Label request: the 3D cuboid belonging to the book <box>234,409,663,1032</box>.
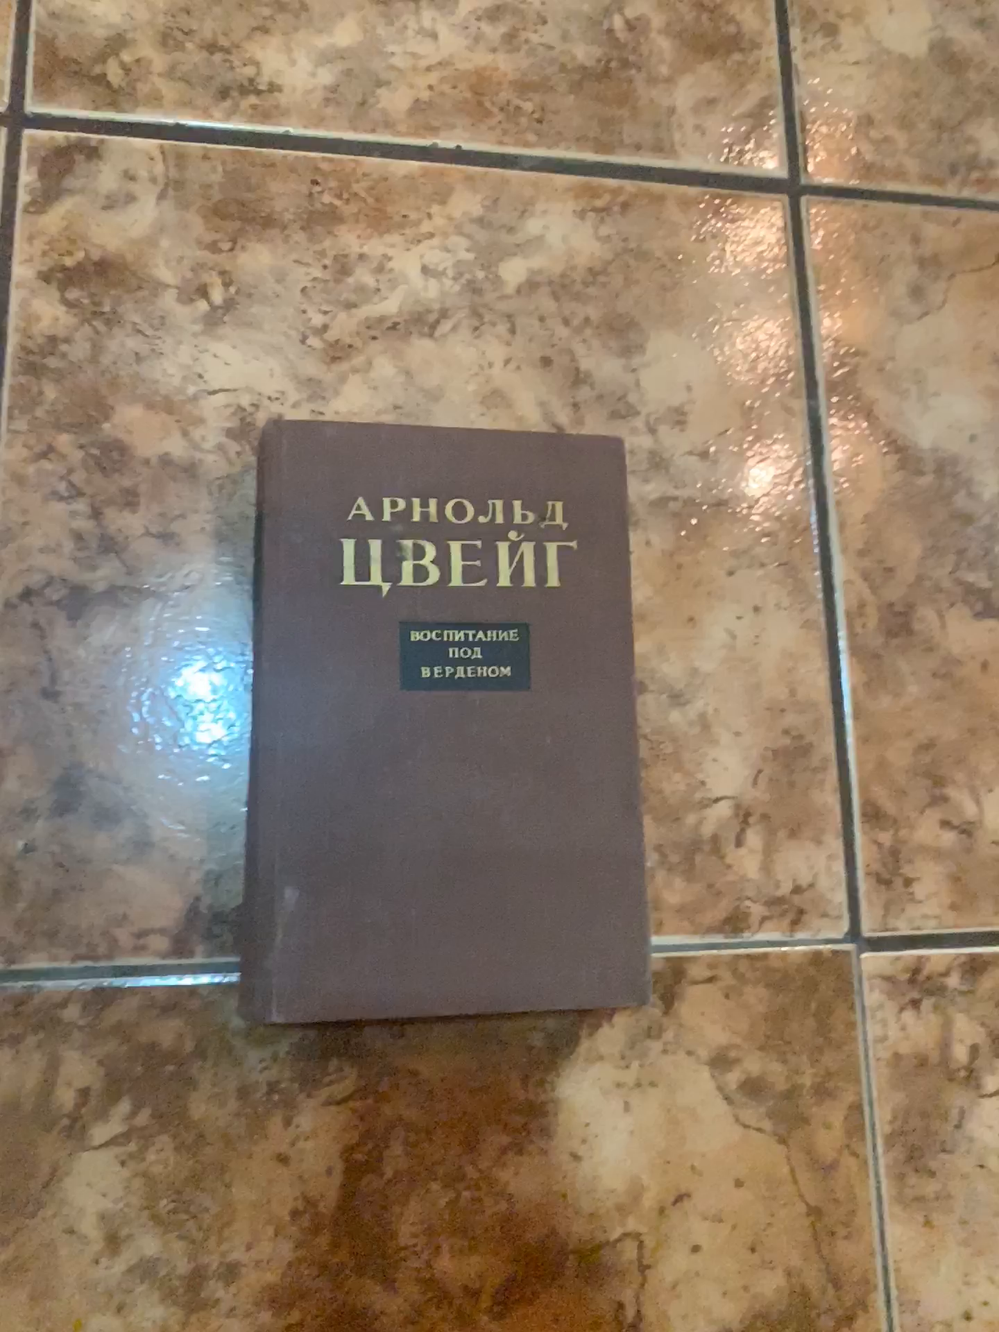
[{"bbox_3d":[-0.019,0.016,0.365,0.139,0.034,0.205,1,80,-10],"label":"book"}]
